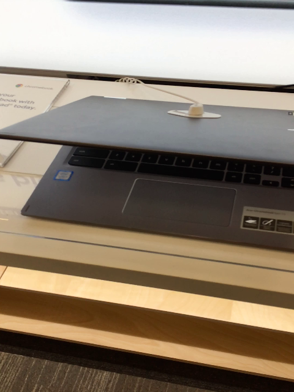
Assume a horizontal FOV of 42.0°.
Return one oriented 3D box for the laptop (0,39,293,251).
[{"bbox_3d":[0.058,-0.066,0.421,0.329,0.101,0.202,8,54,9],"label":"laptop"}]
